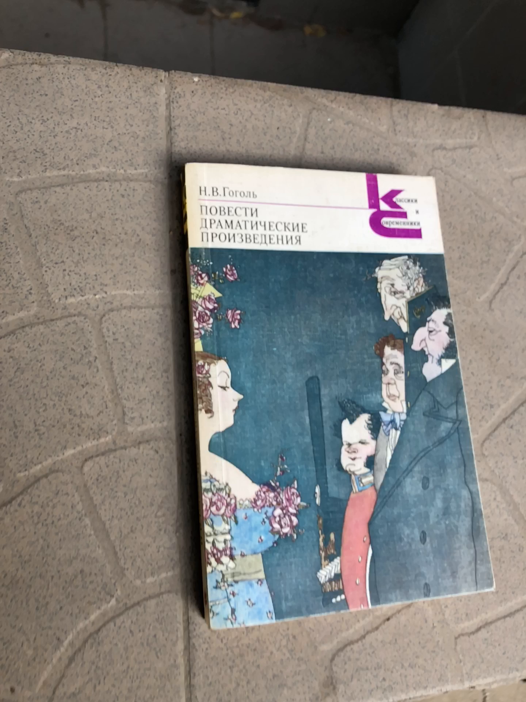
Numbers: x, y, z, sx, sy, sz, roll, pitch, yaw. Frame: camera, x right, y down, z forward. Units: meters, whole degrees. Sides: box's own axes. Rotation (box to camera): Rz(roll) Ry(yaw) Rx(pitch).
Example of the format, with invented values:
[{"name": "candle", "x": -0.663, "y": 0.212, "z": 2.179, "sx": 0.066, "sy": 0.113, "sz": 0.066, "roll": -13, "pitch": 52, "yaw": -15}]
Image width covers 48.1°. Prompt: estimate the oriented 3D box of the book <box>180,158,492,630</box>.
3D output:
[{"name": "book", "x": 0.029, "y": 0.011, "z": 0.264, "sx": 0.124, "sy": 0.021, "sz": 0.193, "roll": -1, "pitch": 79, "yaw": -14}]
